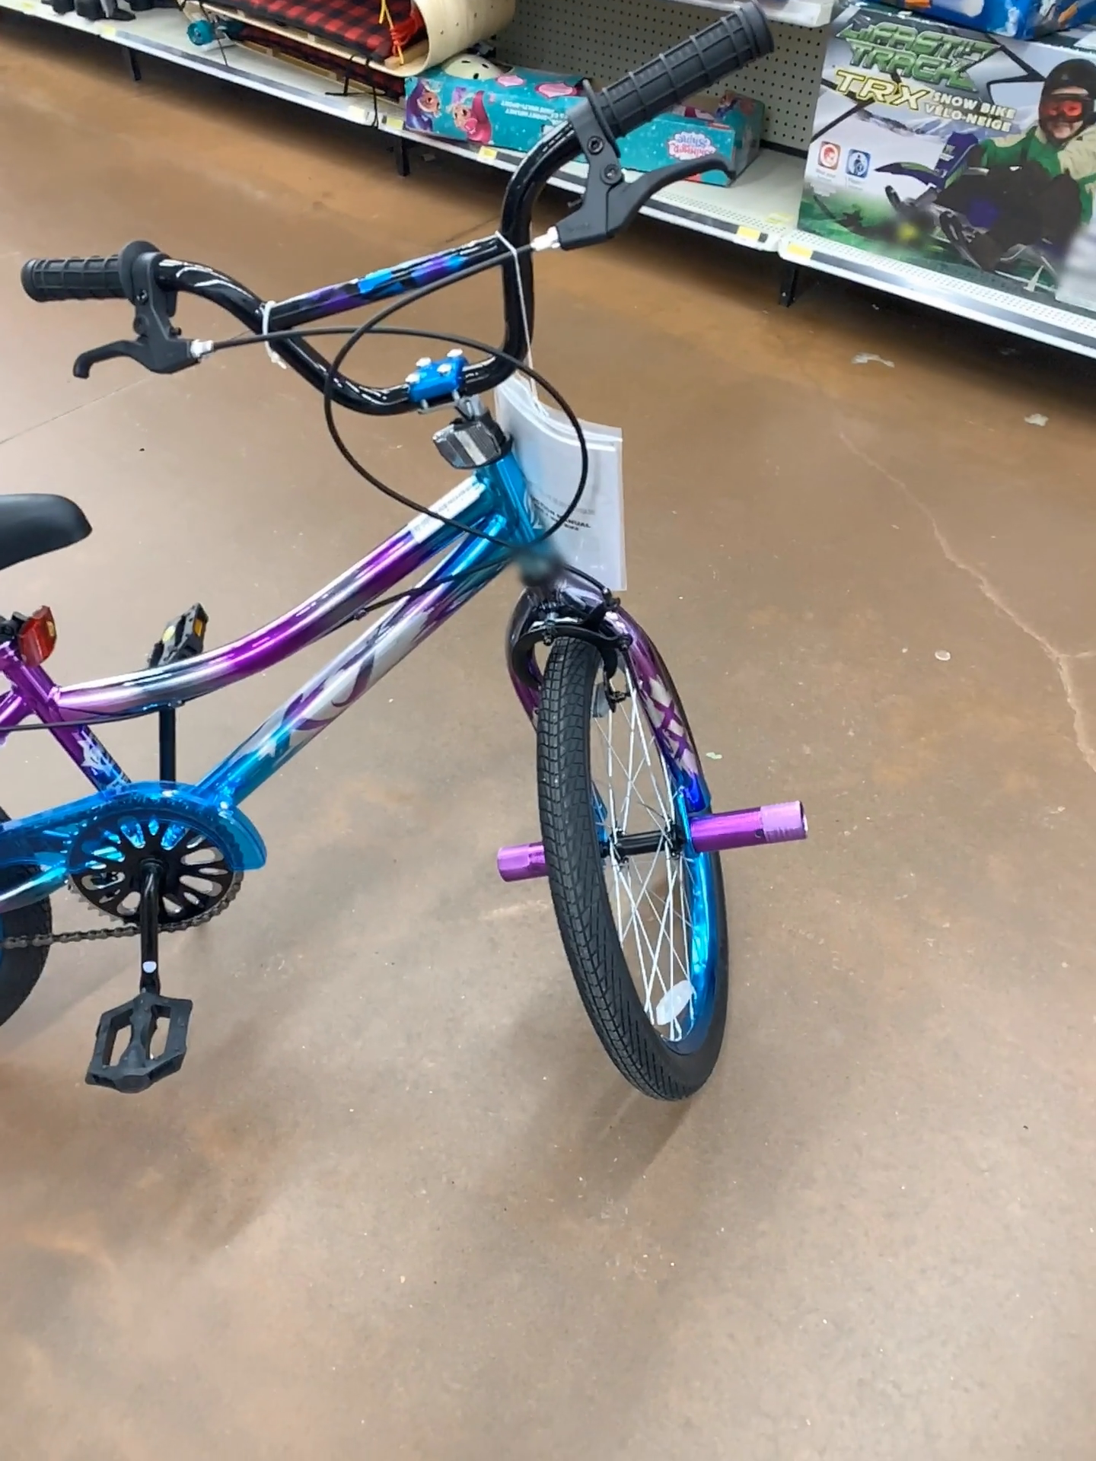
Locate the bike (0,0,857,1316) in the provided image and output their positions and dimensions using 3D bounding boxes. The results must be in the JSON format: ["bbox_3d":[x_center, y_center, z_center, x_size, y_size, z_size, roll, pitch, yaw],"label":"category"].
[{"bbox_3d":[-0.412,-0.146,1.021,1.120,0.876,0.623,-12,47,-13],"label":"bike"}]
